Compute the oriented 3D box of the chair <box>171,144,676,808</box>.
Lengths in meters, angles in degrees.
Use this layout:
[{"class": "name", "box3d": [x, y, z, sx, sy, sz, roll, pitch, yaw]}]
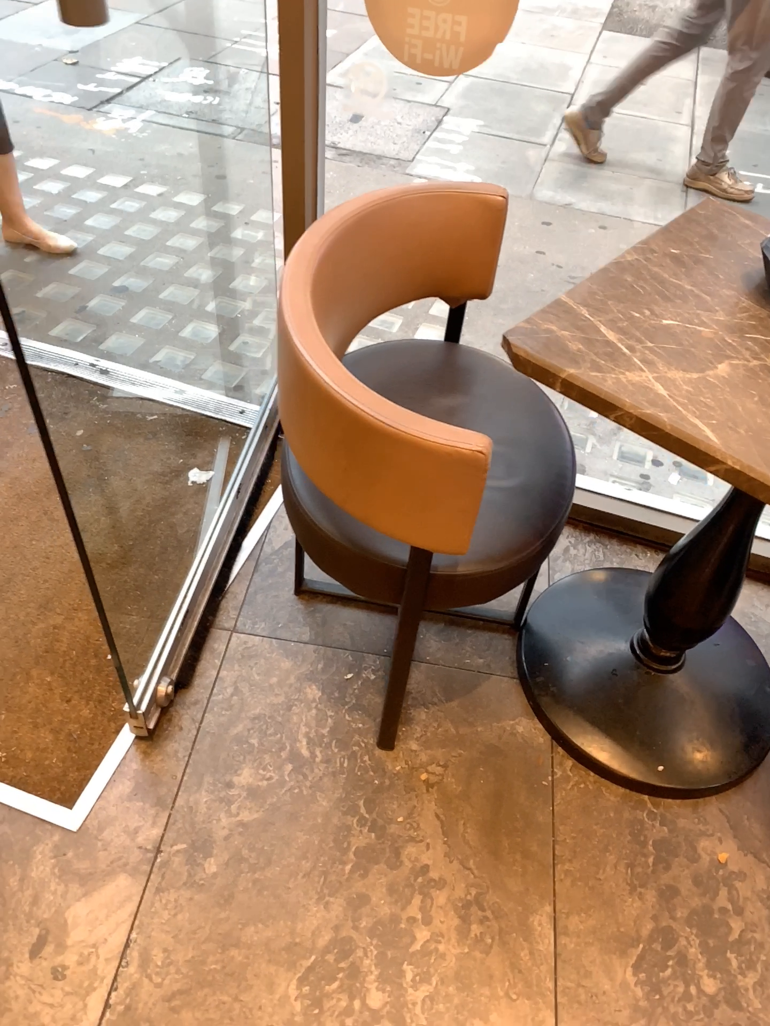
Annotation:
[{"class": "chair", "box3d": [0.101, -0.090, 1.281, 0.510, 0.654, 0.767, 14, 46, 8]}]
